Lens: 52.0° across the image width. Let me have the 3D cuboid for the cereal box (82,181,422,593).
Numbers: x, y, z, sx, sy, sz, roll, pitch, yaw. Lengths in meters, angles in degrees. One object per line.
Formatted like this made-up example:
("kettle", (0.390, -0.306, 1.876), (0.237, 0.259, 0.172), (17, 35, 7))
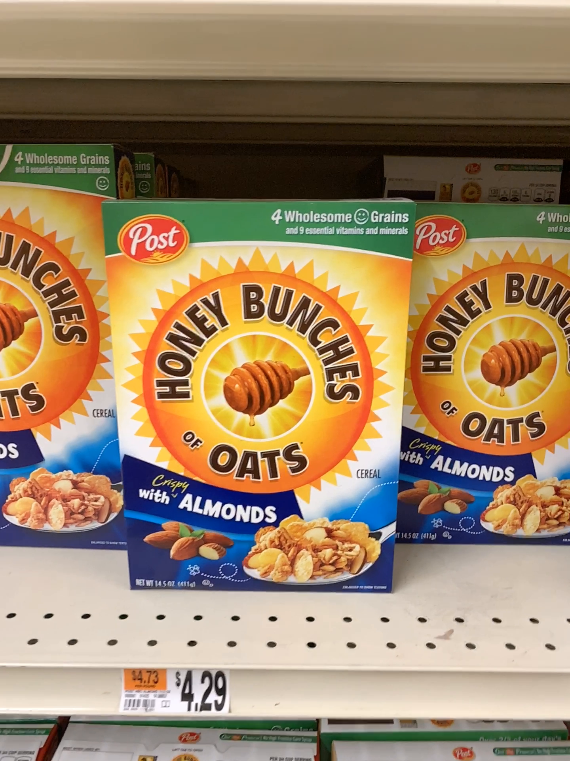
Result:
("cereal box", (-0.020, 0.009, 0.411), (0.200, 0.279, 0.060), (1, 16, 1))
